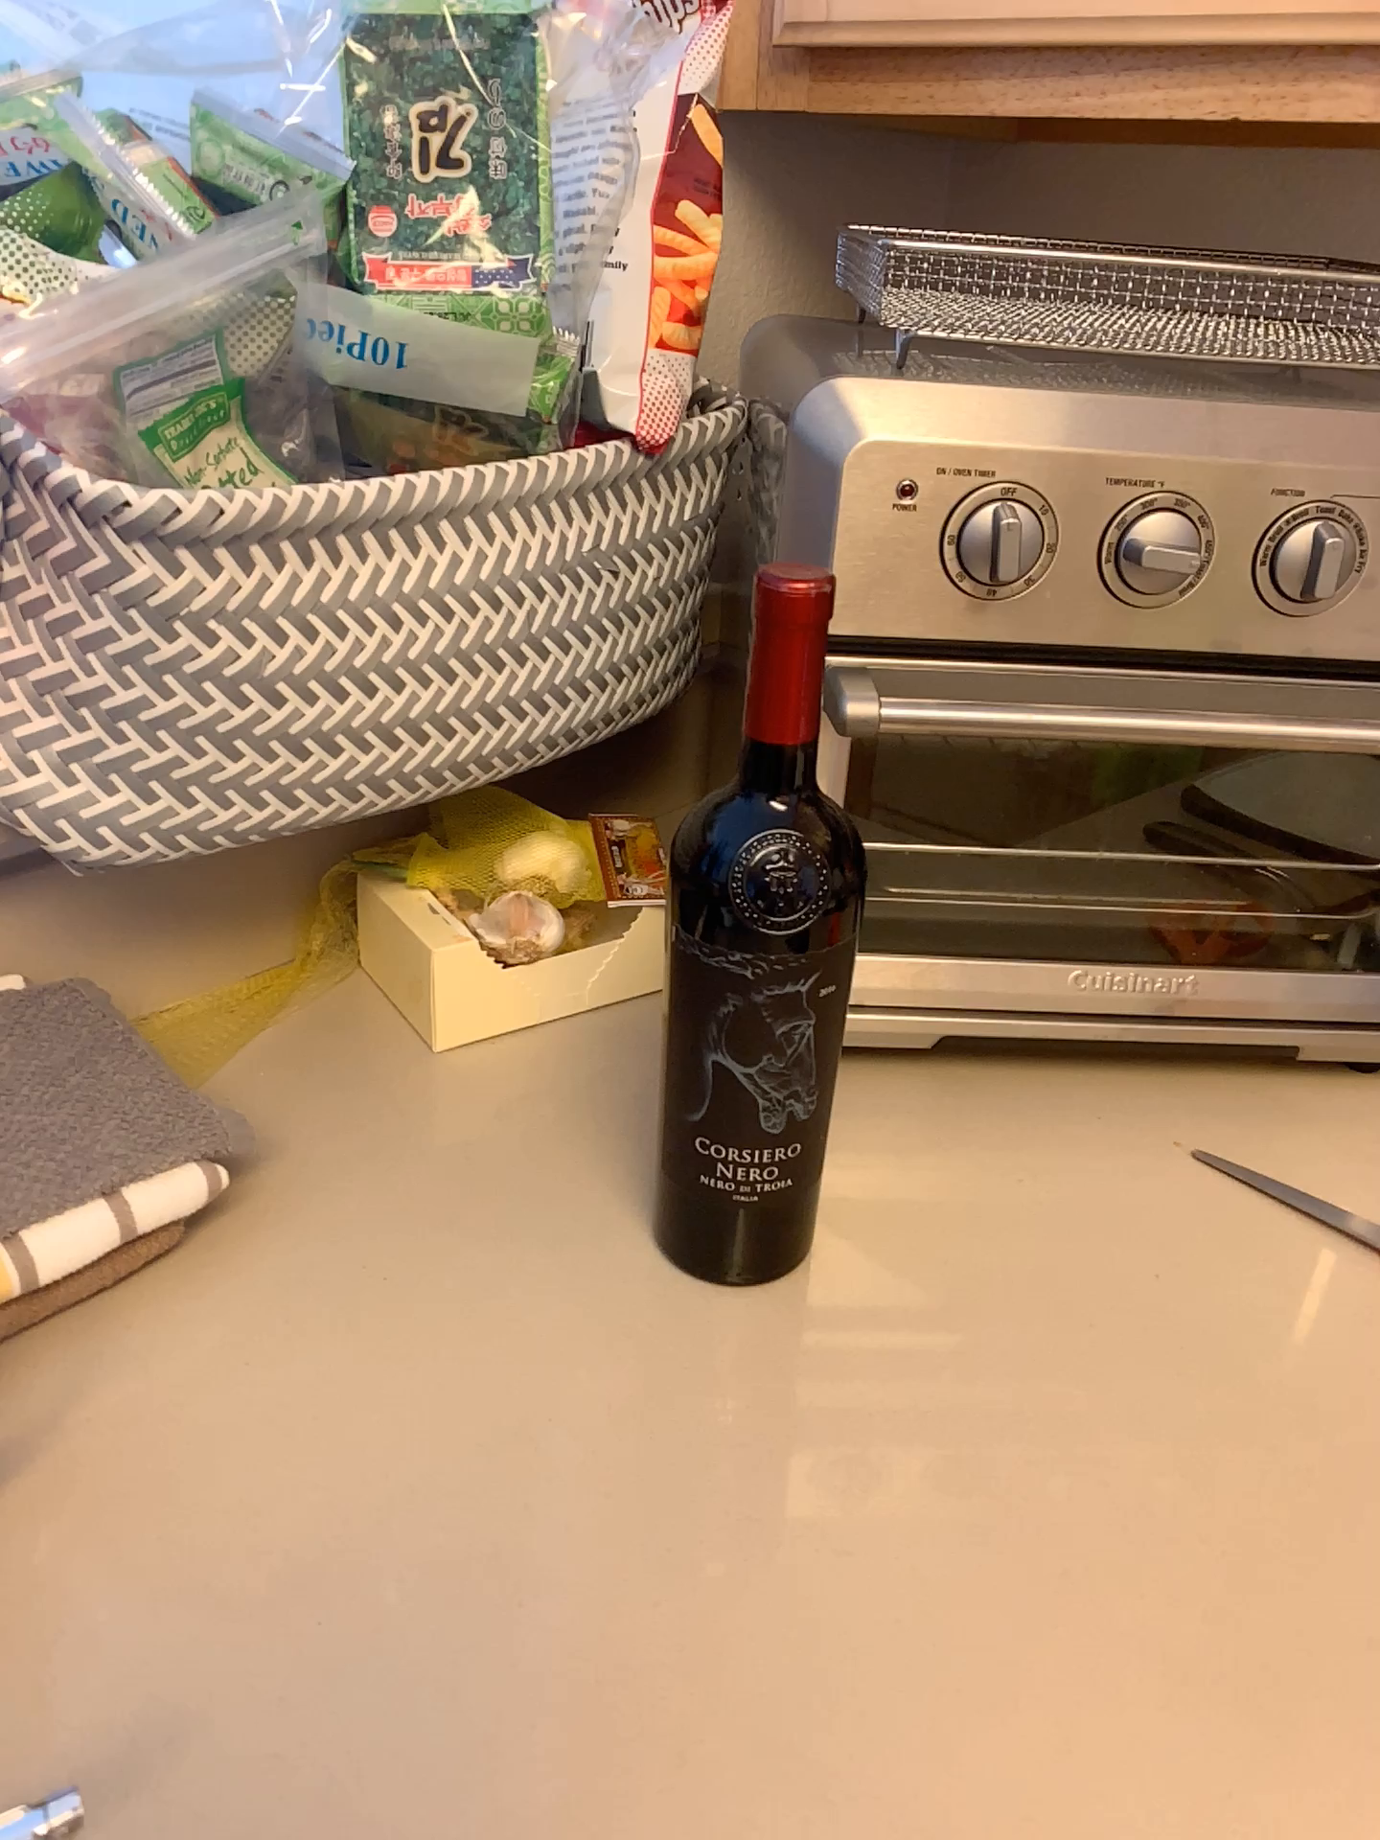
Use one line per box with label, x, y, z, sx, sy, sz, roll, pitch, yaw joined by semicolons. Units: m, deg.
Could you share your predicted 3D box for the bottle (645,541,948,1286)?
bottle;0.031;0.006;0.537;0.080;0.278;0.070;0;27;-6
